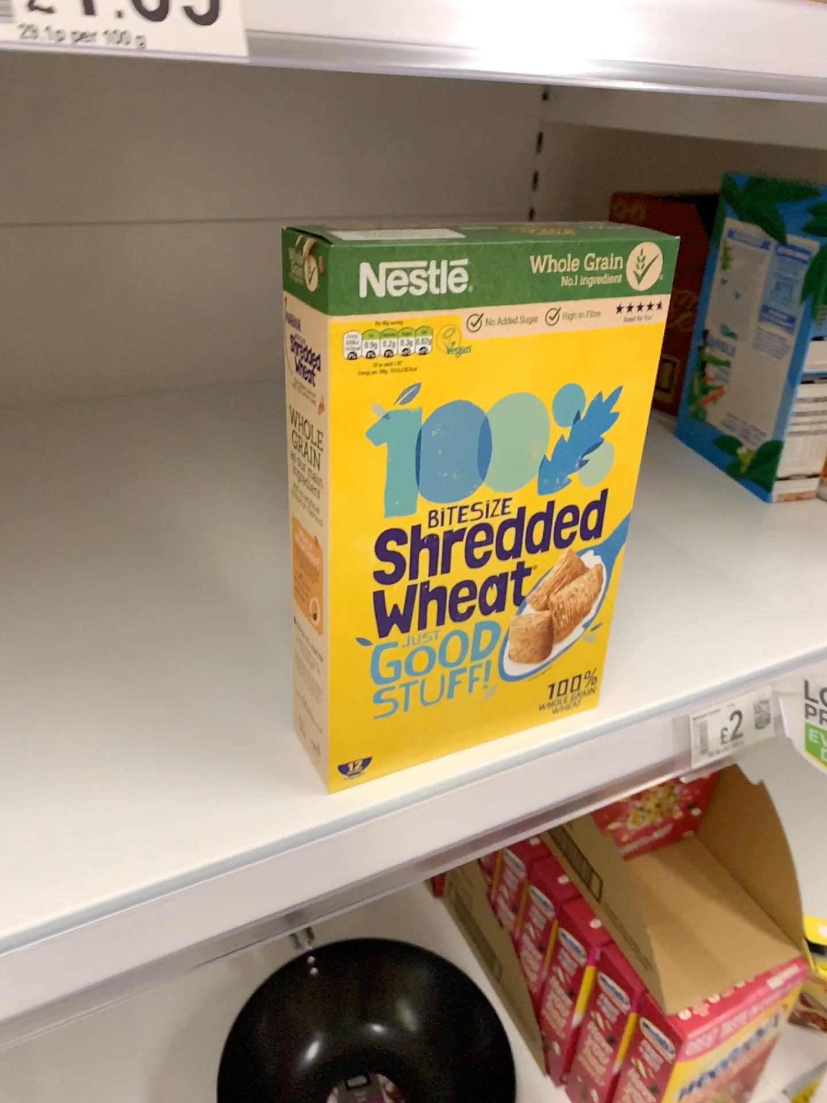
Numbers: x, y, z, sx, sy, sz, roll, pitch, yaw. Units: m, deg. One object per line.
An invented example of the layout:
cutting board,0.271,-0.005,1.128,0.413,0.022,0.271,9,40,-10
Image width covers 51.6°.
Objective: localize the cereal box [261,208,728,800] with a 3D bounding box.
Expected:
cereal box,0.036,-0.029,0.455,0.211,0.278,0.070,-11,30,-26
